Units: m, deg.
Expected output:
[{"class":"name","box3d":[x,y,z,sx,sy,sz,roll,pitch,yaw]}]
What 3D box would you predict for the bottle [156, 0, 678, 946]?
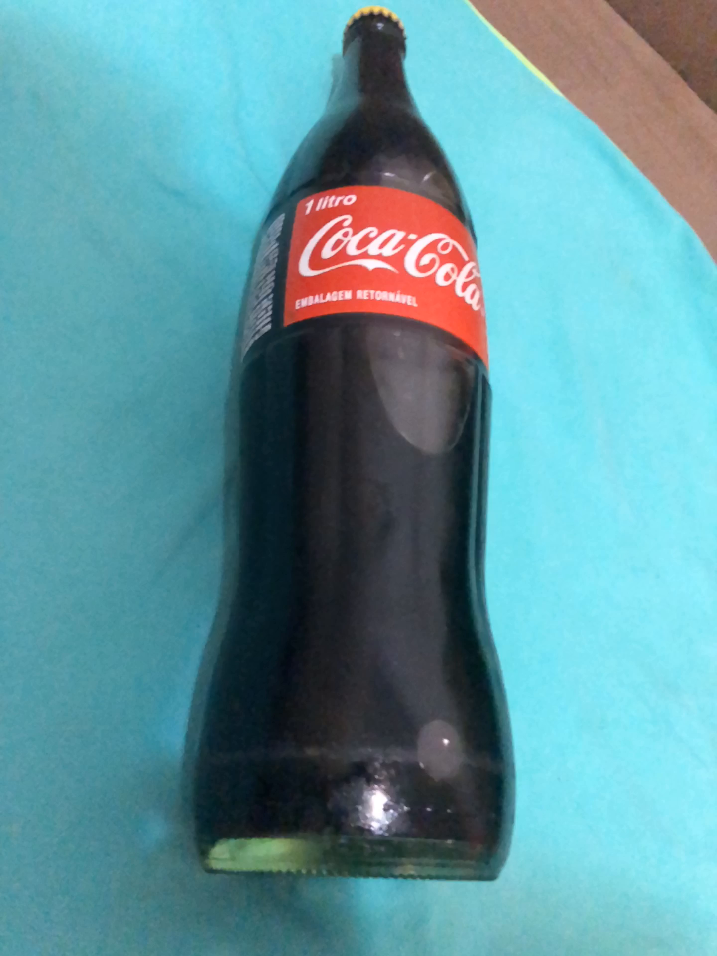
[{"class":"bottle","box3d":[0.015,-0.055,0.268,0.100,0.070,0.361,15,60,-26]}]
